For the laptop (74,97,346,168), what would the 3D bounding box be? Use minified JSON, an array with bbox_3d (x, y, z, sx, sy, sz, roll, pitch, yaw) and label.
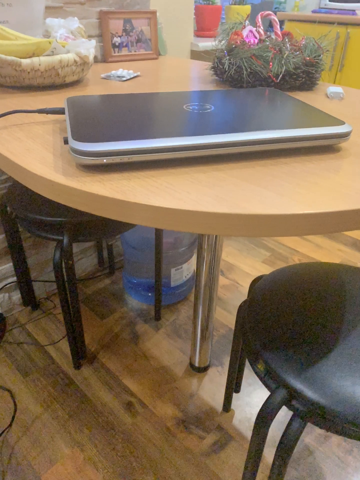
[{"bbox_3d":[0.025,-0.172,0.547,0.348,0.004,0.226,-8,37,-12],"label":"laptop"}]
